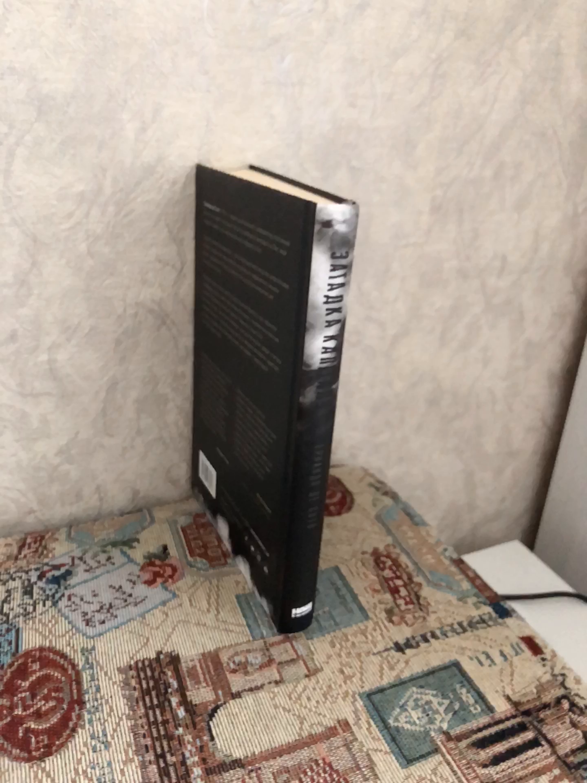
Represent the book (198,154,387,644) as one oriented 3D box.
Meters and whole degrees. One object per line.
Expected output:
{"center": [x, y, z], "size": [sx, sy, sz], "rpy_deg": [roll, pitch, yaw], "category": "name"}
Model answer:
{"center": [-0.014, -0.004, 0.327], "size": [0.035, 0.200, 0.138], "rpy_deg": [-6, 27, -21], "category": "book"}
